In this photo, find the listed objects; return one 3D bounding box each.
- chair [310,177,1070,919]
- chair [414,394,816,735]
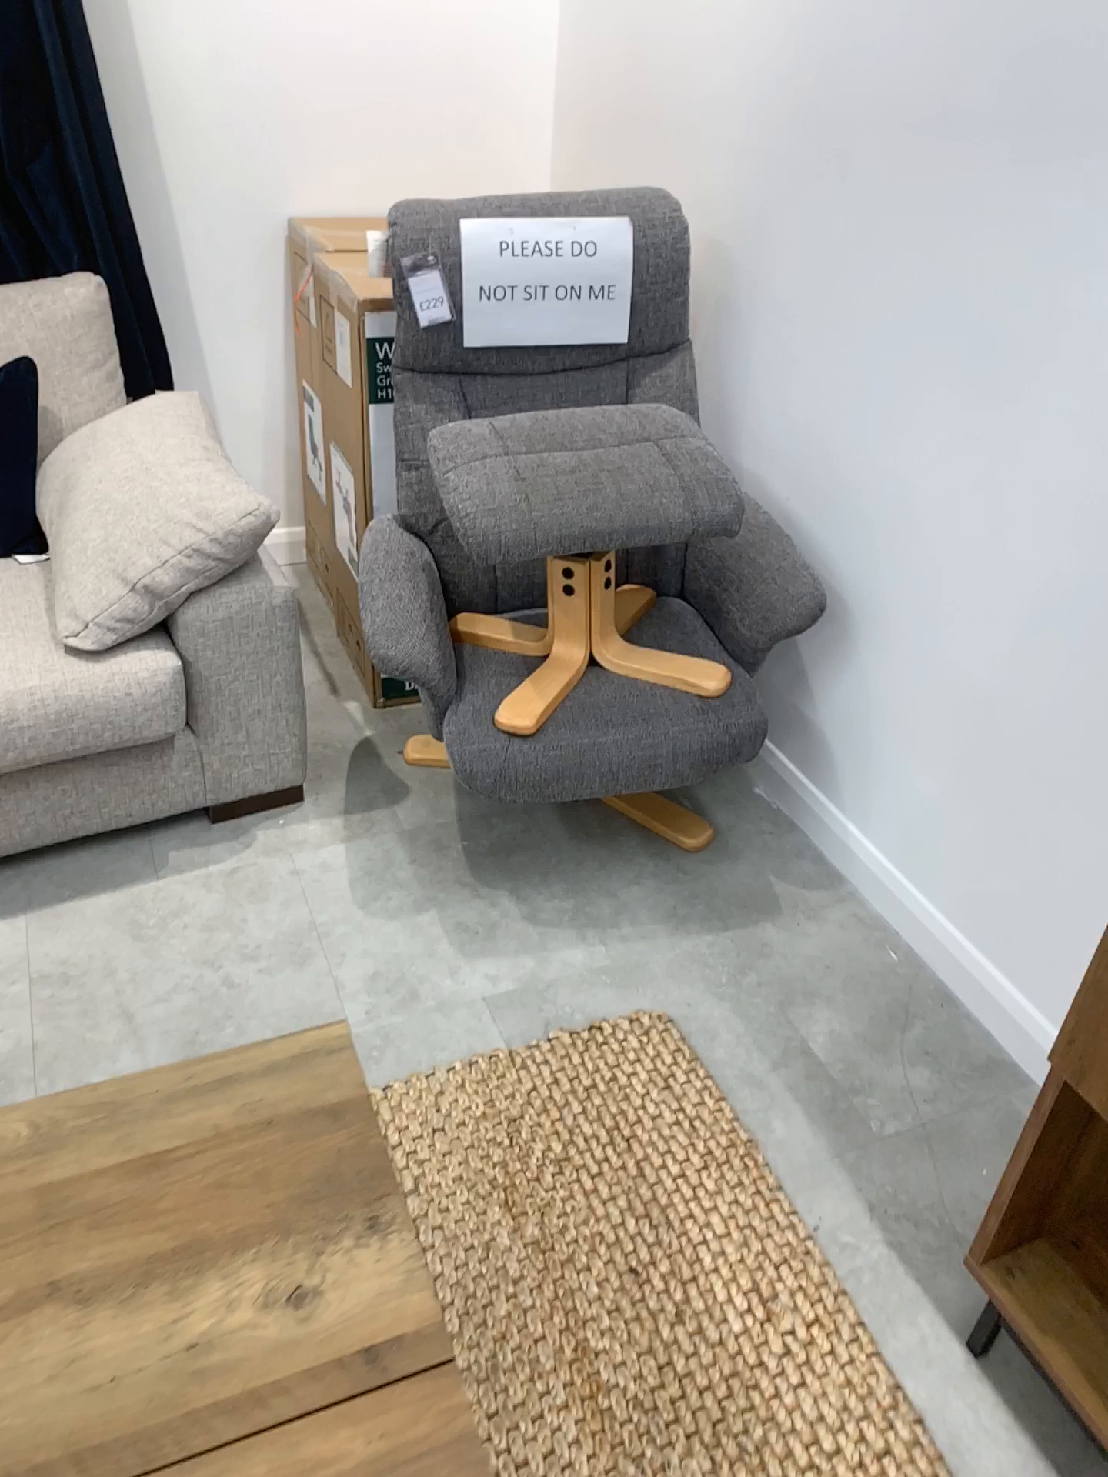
[{"bbox_3d":[0.105,-0.370,1.884,0.867,0.897,0.792,-7,35,-16],"label":"chair"},{"bbox_3d":[0.064,-0.302,1.826,0.496,0.352,0.449,-7,35,-16],"label":"chair"}]
